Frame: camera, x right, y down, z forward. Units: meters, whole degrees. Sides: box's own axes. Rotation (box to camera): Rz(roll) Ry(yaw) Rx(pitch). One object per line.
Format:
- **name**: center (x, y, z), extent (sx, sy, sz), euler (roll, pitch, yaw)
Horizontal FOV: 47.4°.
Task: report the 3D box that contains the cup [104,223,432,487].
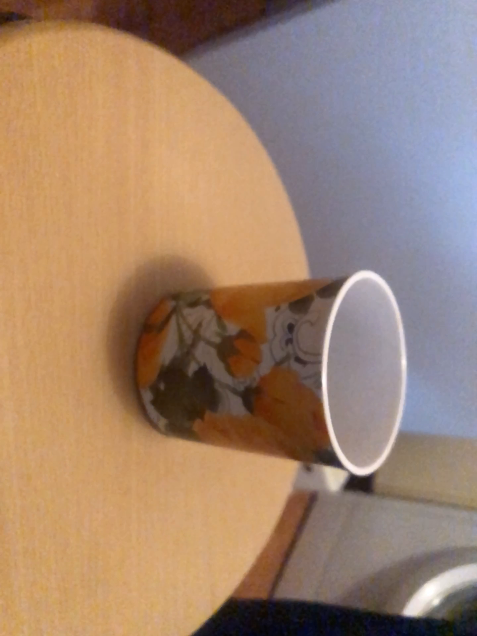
- **cup**: center (0.021, 0.024, 0.253), extent (0.111, 0.097, 0.082), euler (29, 65, -49)
